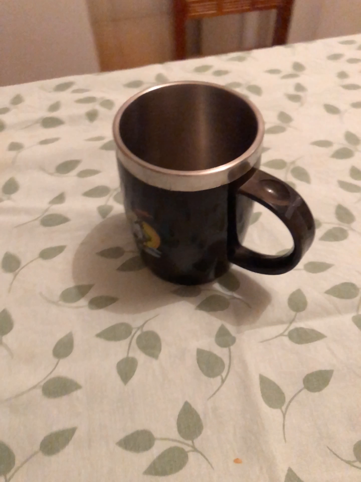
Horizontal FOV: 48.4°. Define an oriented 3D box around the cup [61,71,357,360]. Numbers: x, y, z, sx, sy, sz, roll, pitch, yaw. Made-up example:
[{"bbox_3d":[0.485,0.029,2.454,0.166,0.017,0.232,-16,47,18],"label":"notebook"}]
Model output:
[{"bbox_3d":[0.017,-0.016,0.262,0.130,0.119,0.090,27,58,20],"label":"cup"}]
